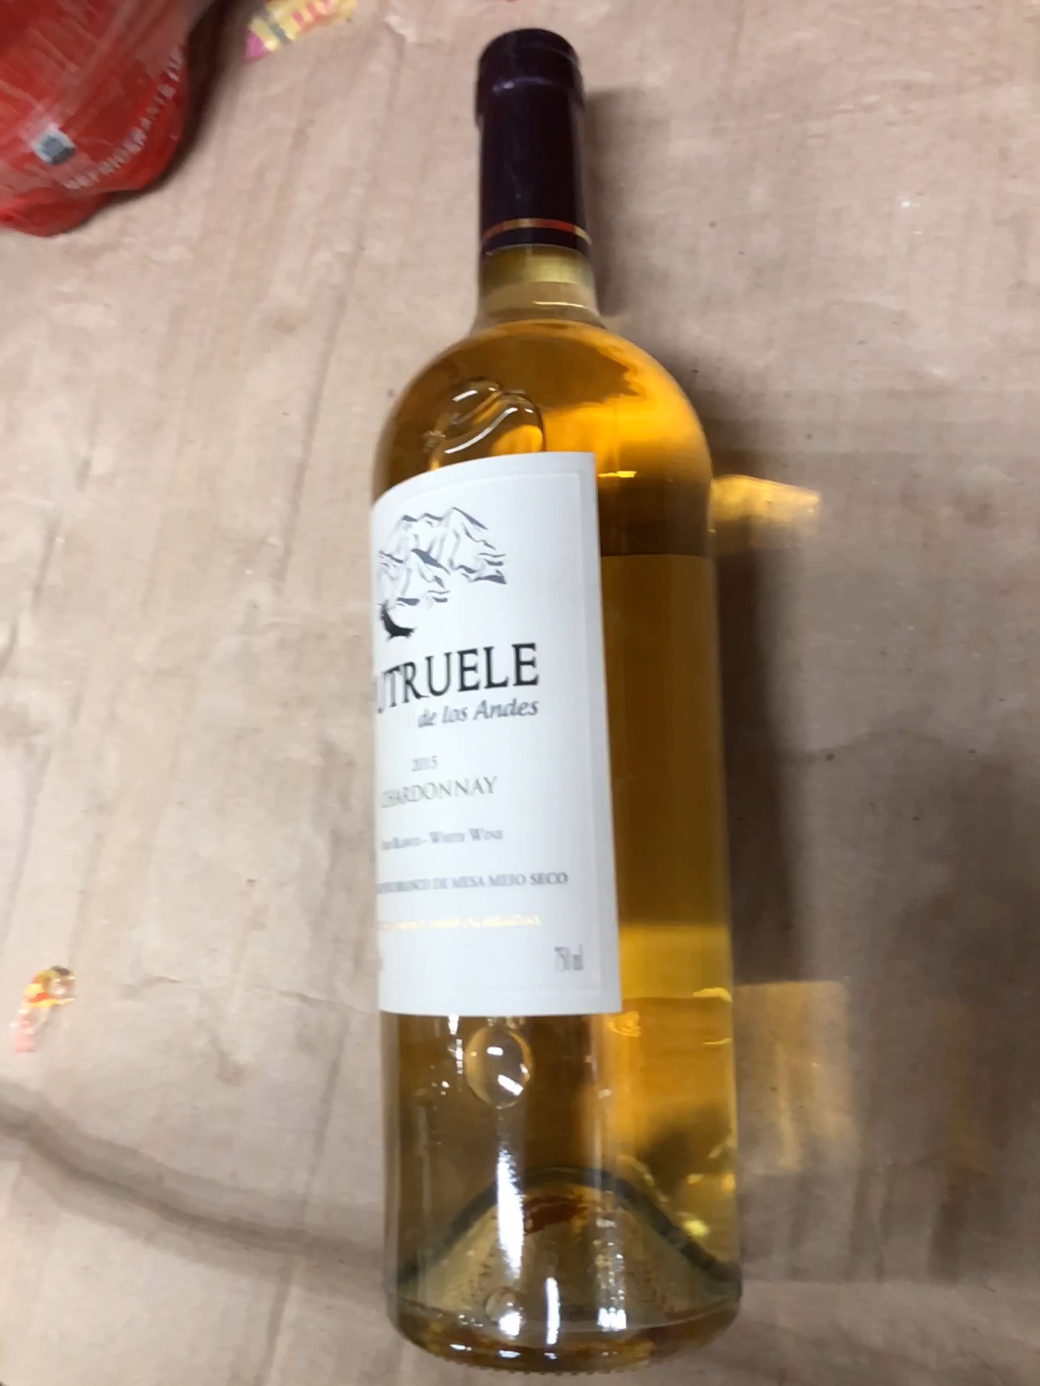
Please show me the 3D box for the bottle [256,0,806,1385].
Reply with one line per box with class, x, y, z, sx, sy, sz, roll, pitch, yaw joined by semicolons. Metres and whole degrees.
bottle;-0.002;-0.022;0.258;0.080;0.070;0.300;-13;72;40
